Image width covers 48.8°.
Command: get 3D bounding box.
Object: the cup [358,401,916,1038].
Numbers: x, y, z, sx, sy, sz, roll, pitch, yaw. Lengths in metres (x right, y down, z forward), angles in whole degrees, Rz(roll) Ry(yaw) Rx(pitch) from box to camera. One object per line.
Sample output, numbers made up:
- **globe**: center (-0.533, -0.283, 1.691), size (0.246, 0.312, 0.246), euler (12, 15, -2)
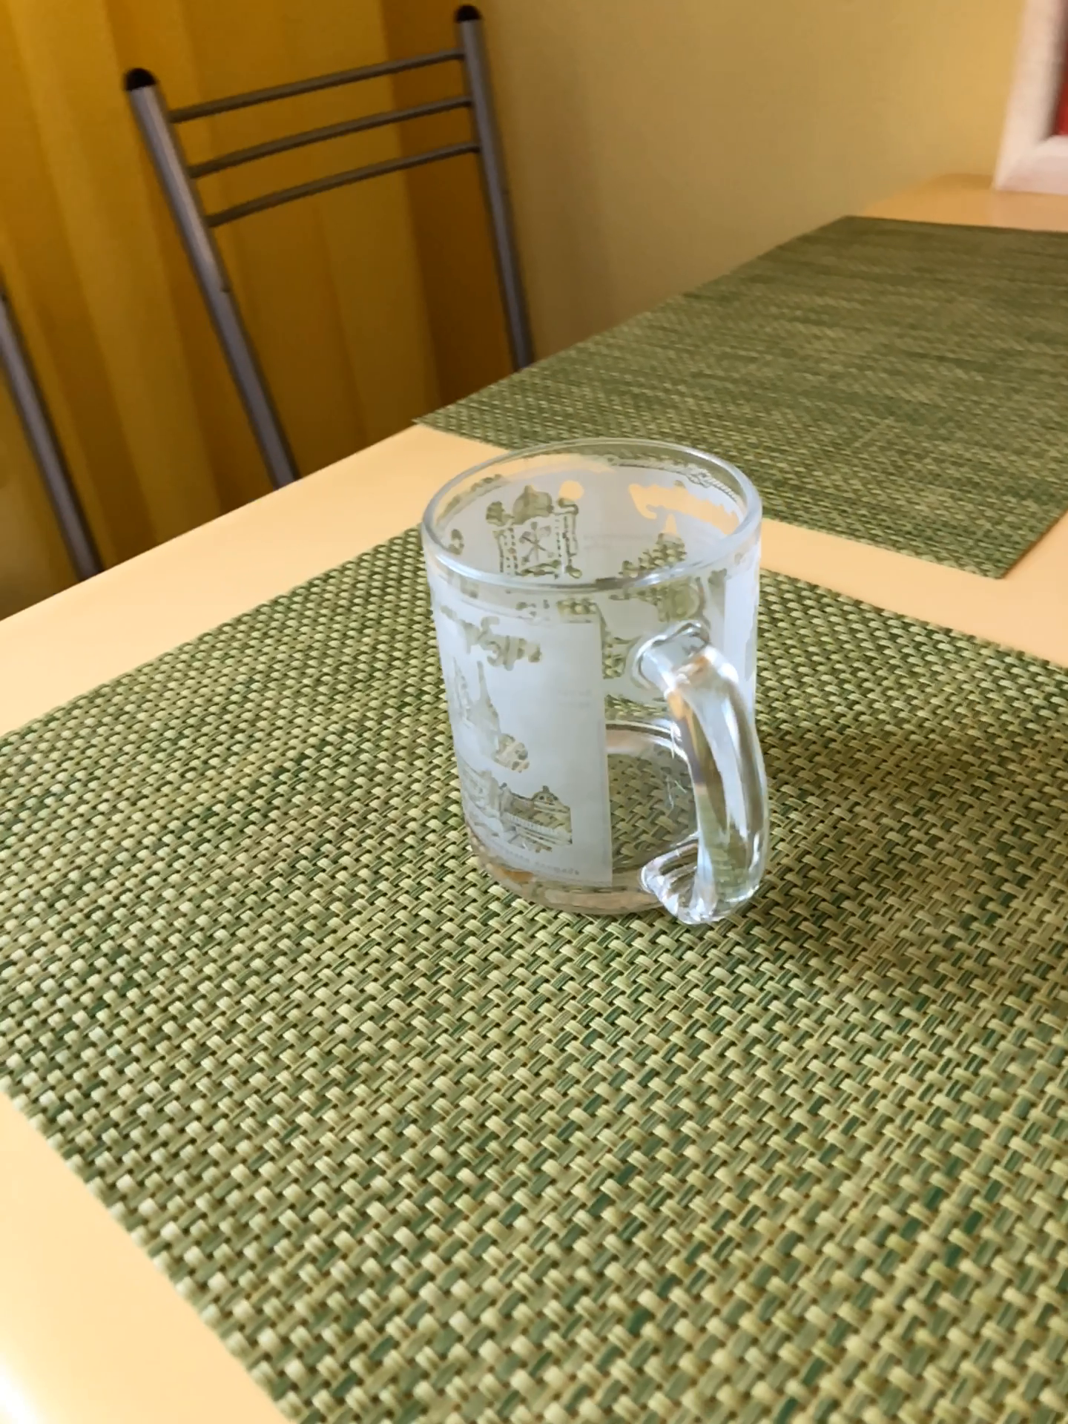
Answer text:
- **cup**: center (0.020, -0.005, 0.294), size (0.087, 0.096, 0.110), euler (-16, 36, -15)
